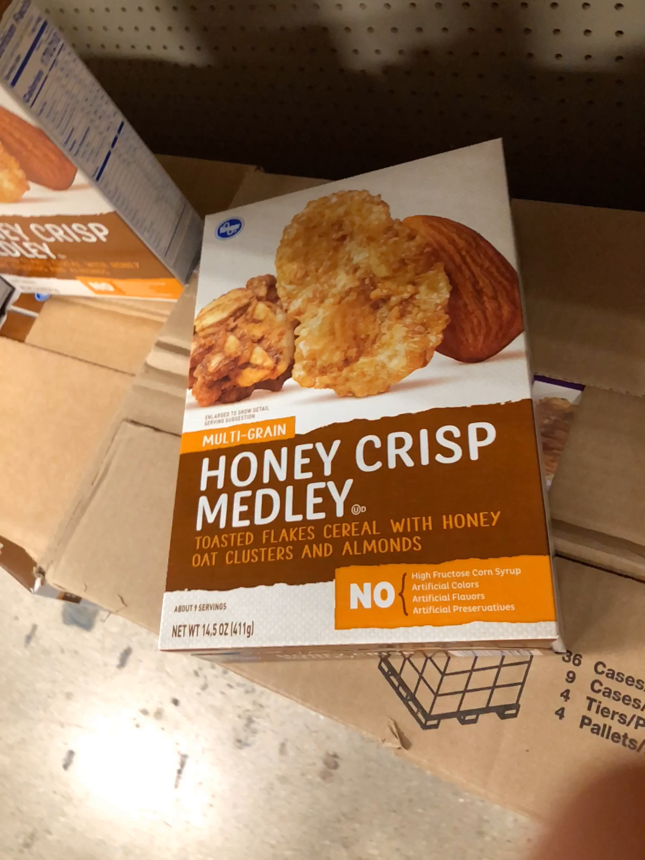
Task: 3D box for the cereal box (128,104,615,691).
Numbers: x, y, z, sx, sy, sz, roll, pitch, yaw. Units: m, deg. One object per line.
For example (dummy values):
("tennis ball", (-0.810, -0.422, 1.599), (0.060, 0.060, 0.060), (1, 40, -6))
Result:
("cereal box", (0.020, -0.015, 0.362), (0.200, 0.060, 0.270), (-8, 65, 19))
